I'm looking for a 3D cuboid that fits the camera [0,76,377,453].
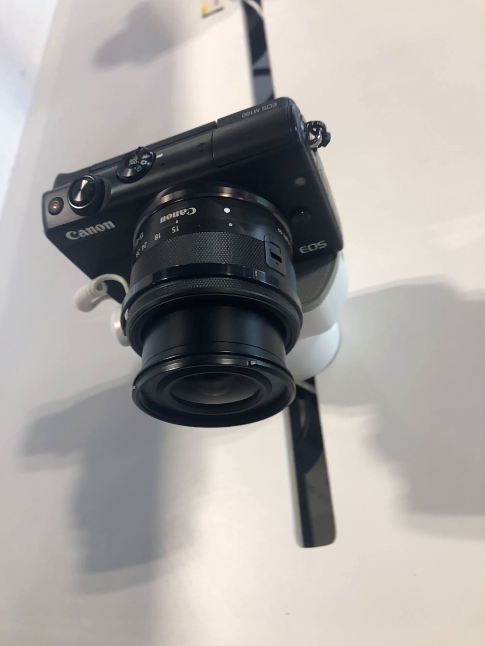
[{"bbox_3d":[-0.018,-0.014,0.201,0.110,0.072,0.091,-13,56,19],"label":"camera"}]
